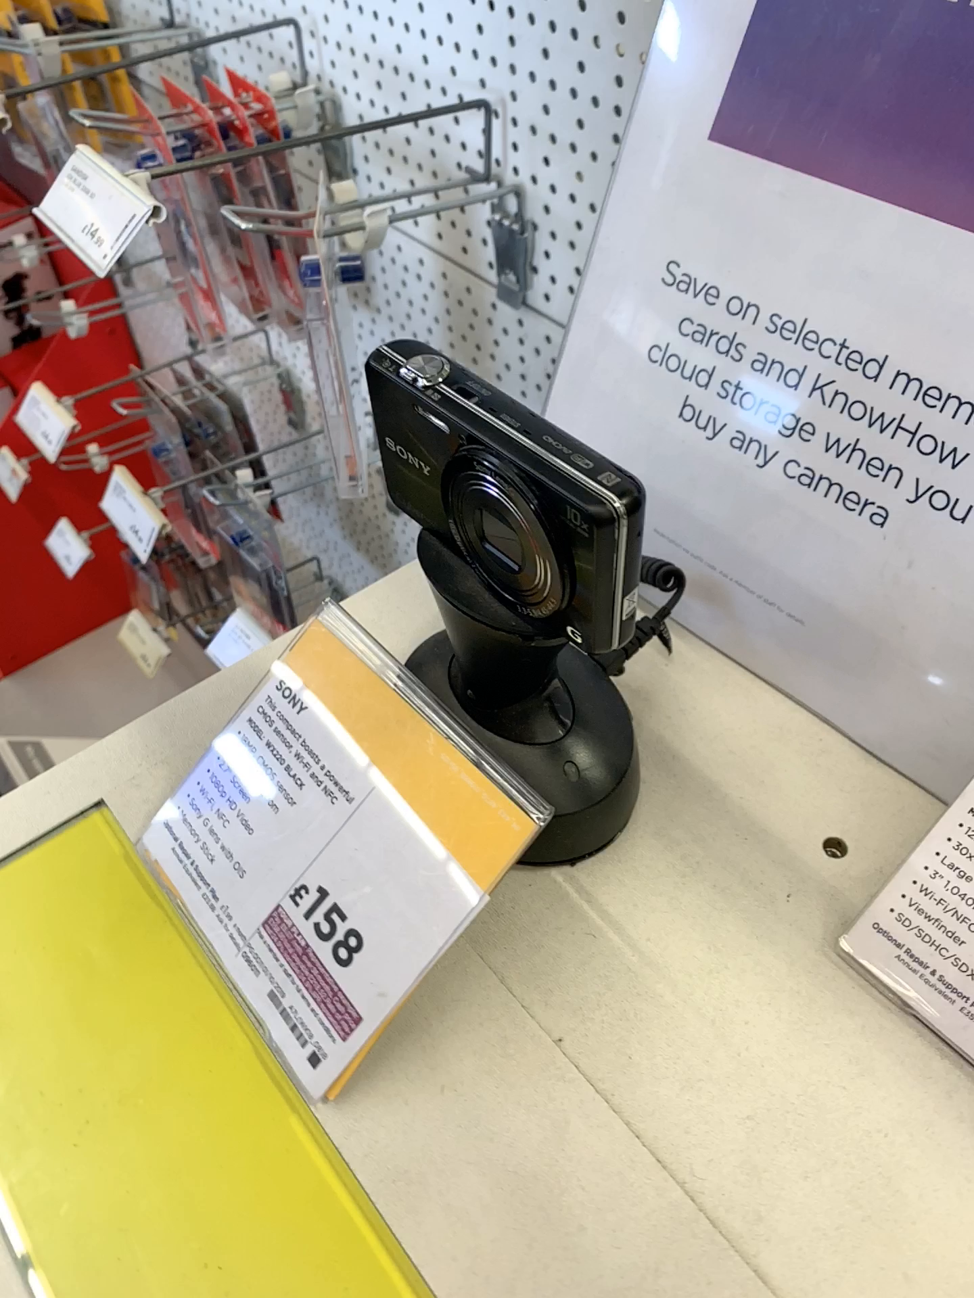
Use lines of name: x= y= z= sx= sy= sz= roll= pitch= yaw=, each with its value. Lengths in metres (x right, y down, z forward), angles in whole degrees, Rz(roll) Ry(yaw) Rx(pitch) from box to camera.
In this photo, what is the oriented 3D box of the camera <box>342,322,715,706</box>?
camera: x=0.007 y=-0.038 z=0.260 sx=0.030 sy=0.050 sz=0.101 roll=-34 pitch=54 yaw=-24
